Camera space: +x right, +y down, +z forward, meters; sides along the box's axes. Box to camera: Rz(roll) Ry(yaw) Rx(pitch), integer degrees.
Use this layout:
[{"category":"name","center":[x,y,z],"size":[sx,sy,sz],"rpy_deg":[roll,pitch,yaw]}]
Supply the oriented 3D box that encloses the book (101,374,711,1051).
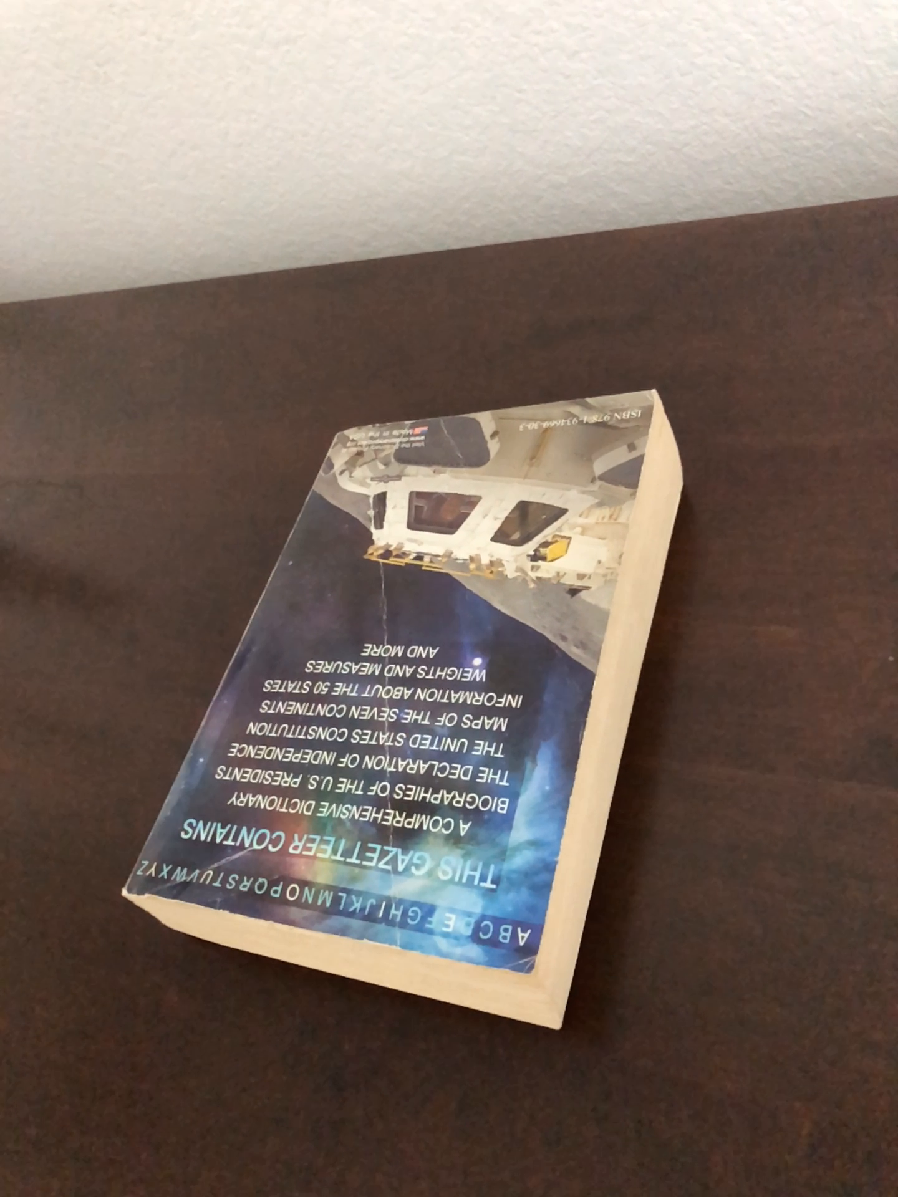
[{"category":"book","center":[-0.006,0.021,0.320],"size":[0.140,0.040,0.196],"rpy_deg":[-1,55,32]}]
